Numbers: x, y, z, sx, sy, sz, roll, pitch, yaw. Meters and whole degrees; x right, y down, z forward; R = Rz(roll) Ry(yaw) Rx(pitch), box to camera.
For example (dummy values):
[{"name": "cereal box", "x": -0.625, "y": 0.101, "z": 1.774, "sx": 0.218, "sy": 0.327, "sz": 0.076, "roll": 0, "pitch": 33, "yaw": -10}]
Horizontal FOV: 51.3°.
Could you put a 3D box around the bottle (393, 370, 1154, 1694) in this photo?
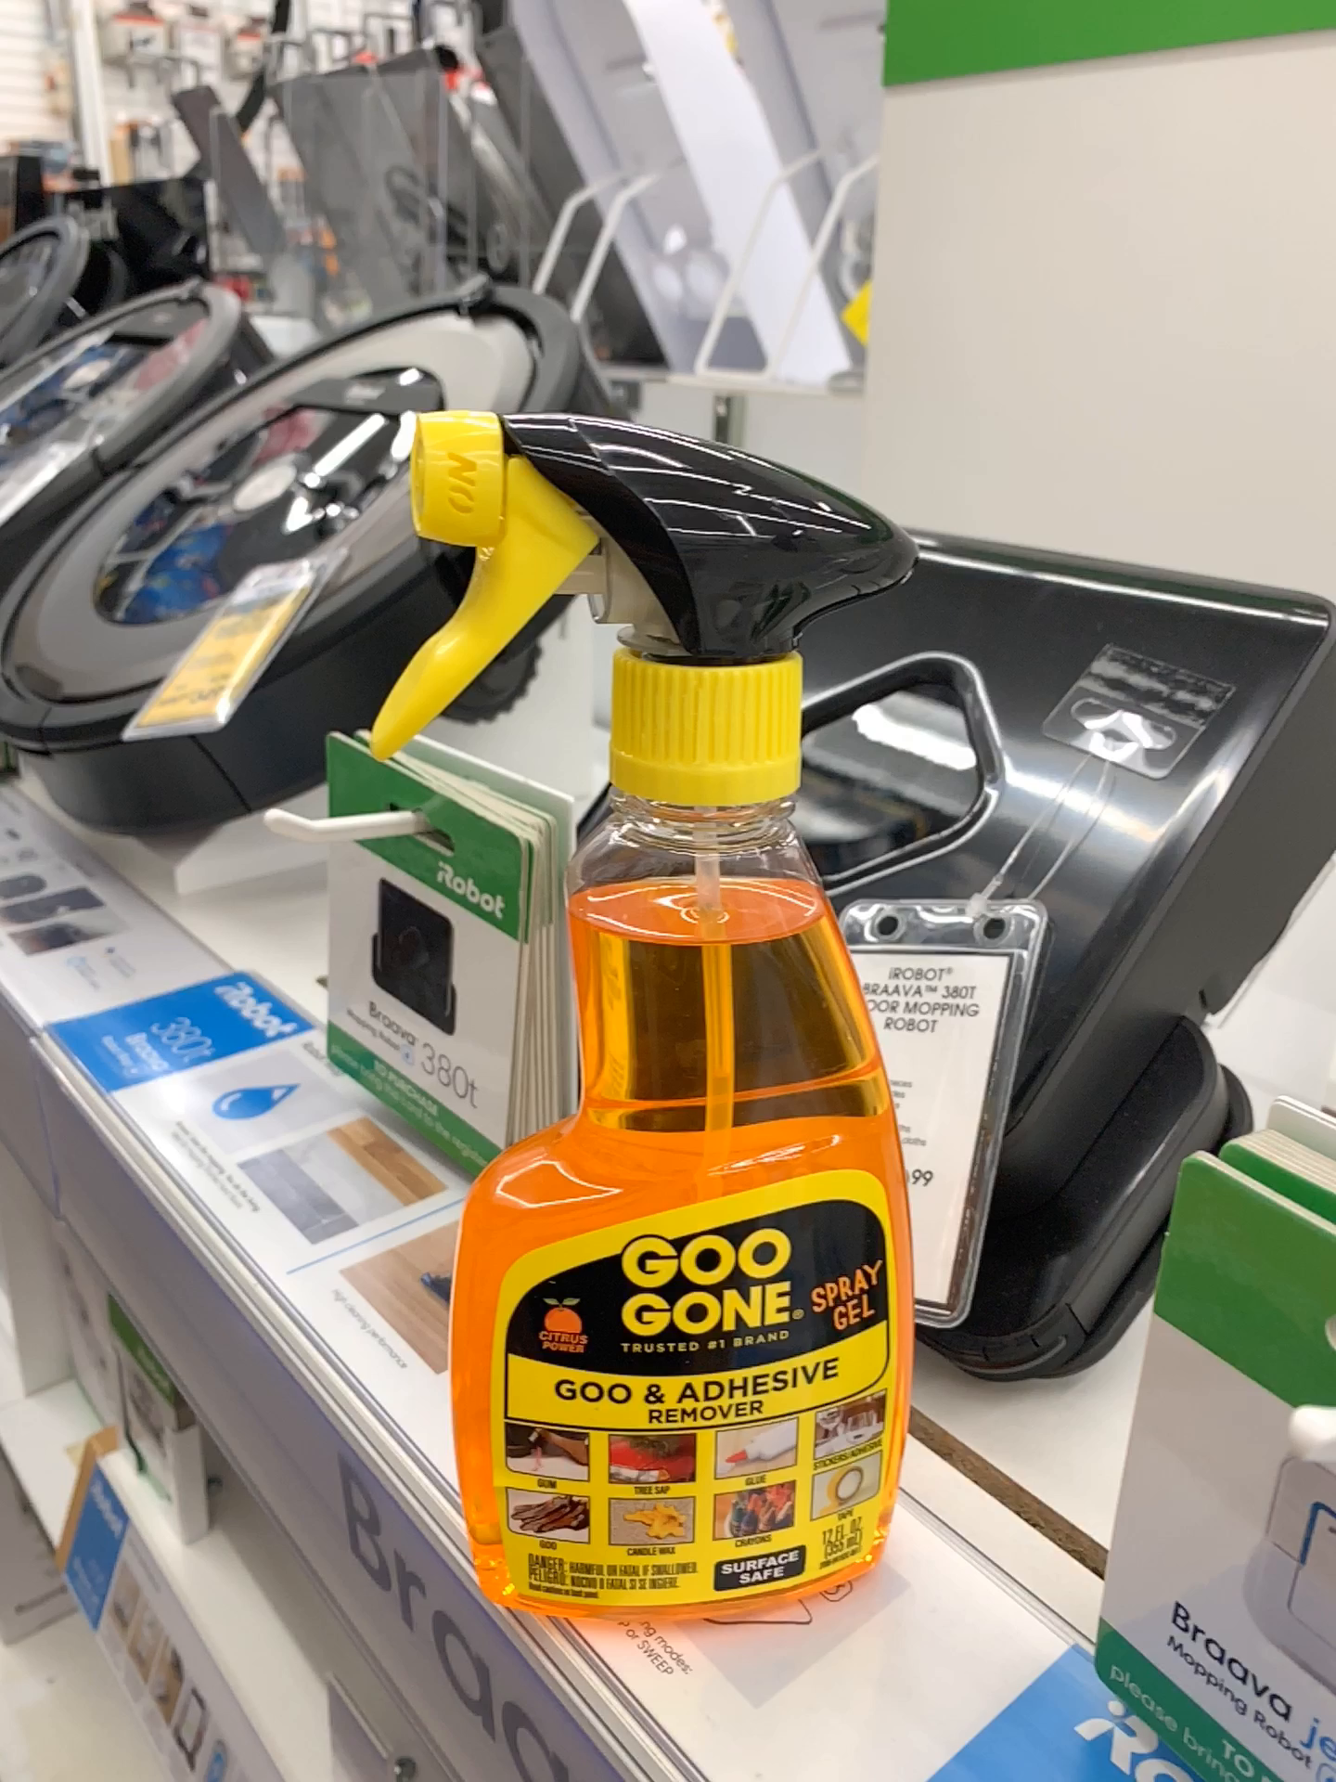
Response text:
[{"name": "bottle", "x": 0.009, "y": 0.031, "z": 0.244, "sx": 0.100, "sy": 0.226, "sz": 0.050, "roll": -3, "pitch": 23, "yaw": -9}]
